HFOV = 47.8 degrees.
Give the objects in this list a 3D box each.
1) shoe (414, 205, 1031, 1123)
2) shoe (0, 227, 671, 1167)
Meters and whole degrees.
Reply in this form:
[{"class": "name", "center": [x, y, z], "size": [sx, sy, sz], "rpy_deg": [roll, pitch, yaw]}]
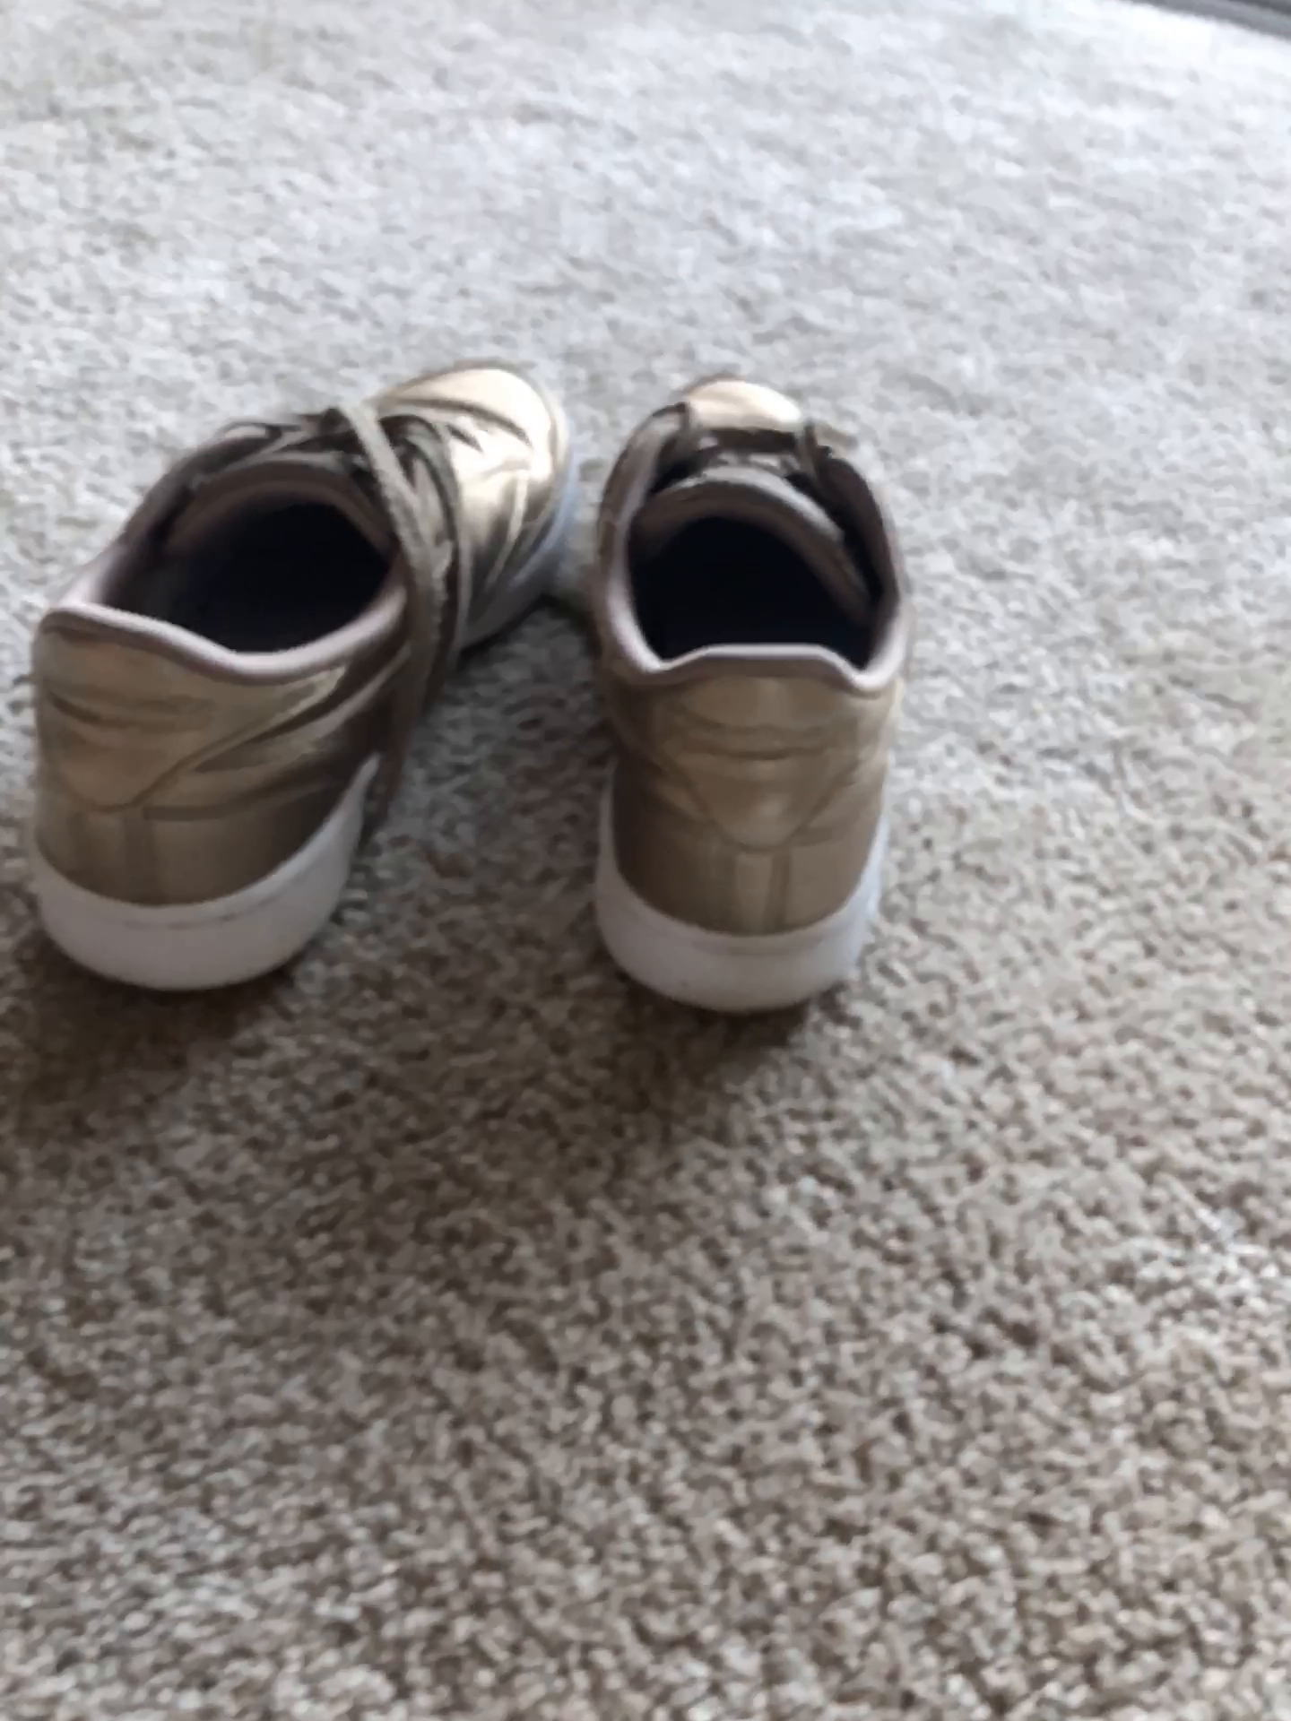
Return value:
[{"class": "shoe", "center": [0.029, -0.076, 0.381], "size": [0.110, 0.070, 0.281], "rpy_deg": [9, 45, 2]}, {"class": "shoe", "center": [-0.080, -0.069, 0.379], "size": [0.110, 0.070, 0.281], "rpy_deg": [13, 45, 6]}]
